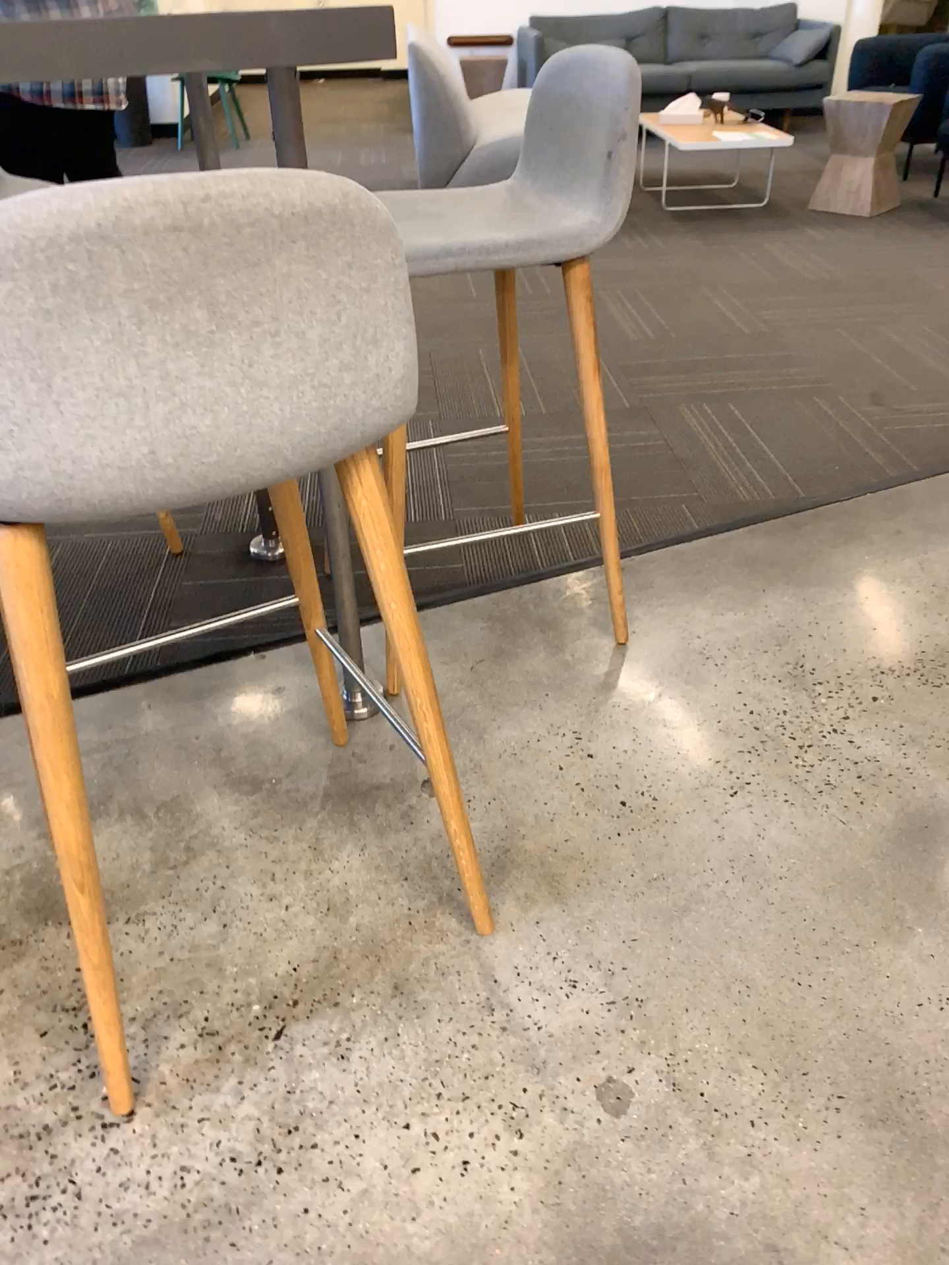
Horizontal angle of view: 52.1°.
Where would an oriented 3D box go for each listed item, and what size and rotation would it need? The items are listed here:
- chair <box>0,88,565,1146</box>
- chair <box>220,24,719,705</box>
[{"bbox_3d":[-0.299,-0.051,1.092,0.550,0.914,0.573,-18,37,-22],"label":"chair"},{"bbox_3d":[-0.081,-0.586,1.901,0.580,0.974,0.966,-11,36,-14],"label":"chair"}]
